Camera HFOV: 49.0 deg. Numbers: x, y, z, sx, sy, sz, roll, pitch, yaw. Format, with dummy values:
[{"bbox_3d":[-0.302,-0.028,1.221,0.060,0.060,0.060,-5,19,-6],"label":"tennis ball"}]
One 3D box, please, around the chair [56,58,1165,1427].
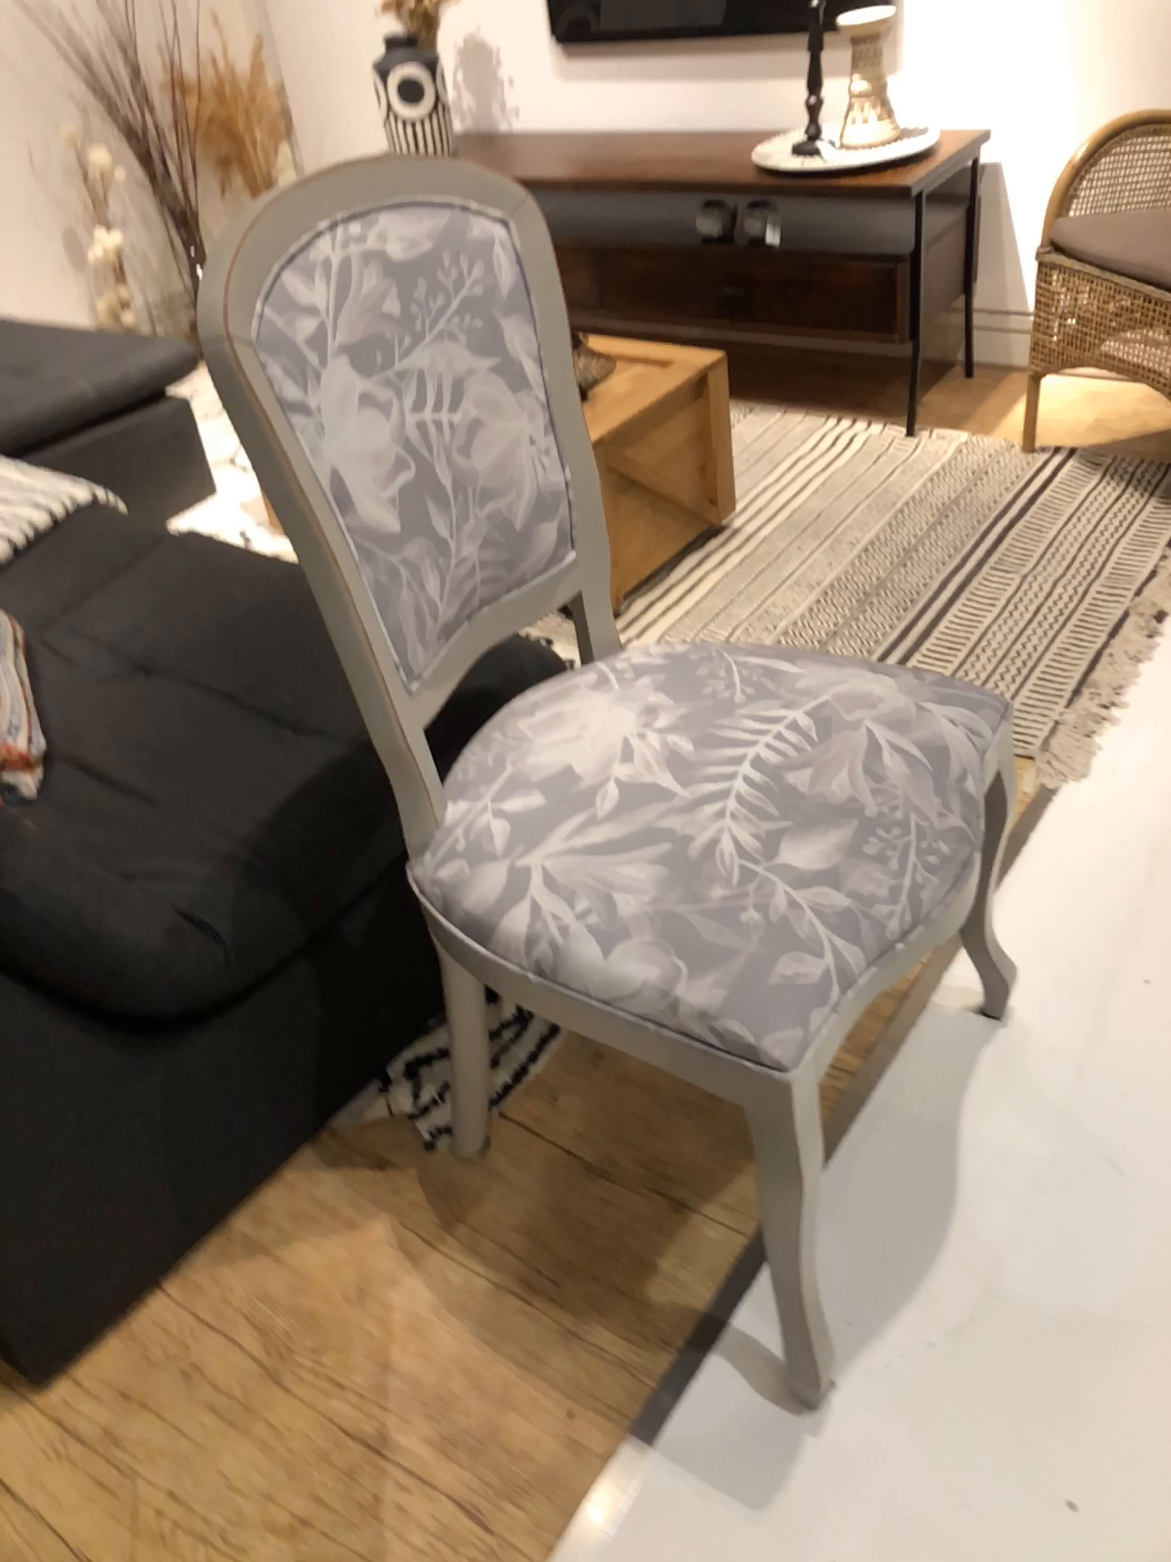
[{"bbox_3d":[0.095,-0.046,1.147,0.532,0.942,0.573,17,43,31],"label":"chair"}]
